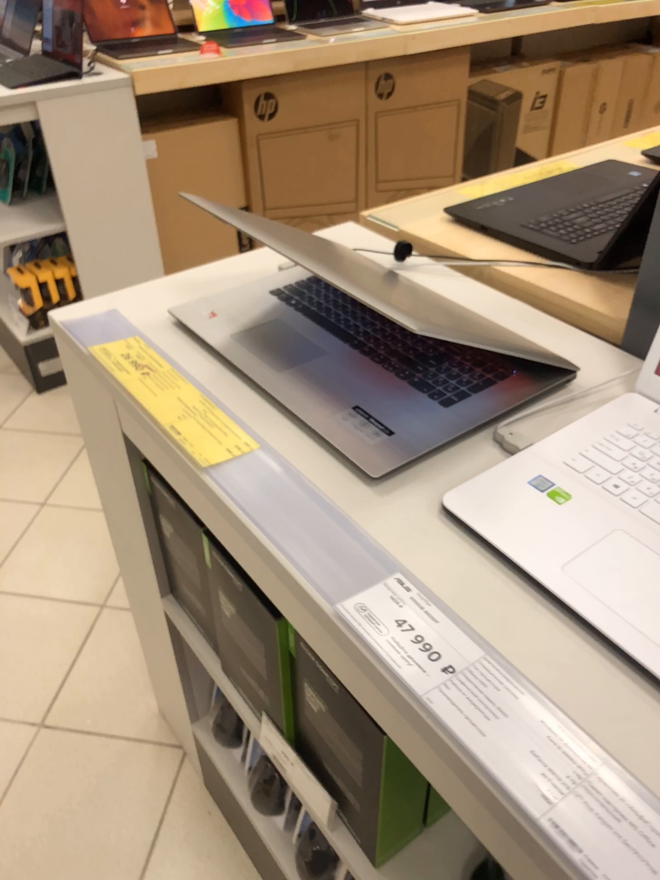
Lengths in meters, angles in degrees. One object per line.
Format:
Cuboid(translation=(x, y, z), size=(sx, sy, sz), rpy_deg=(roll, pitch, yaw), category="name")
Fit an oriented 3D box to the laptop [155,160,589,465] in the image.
Cuboid(translation=(0.026, -0.175, 0.817), size=(0.276, 0.129, 0.399), rpy_deg=(-25, 42, -27), category="laptop")
